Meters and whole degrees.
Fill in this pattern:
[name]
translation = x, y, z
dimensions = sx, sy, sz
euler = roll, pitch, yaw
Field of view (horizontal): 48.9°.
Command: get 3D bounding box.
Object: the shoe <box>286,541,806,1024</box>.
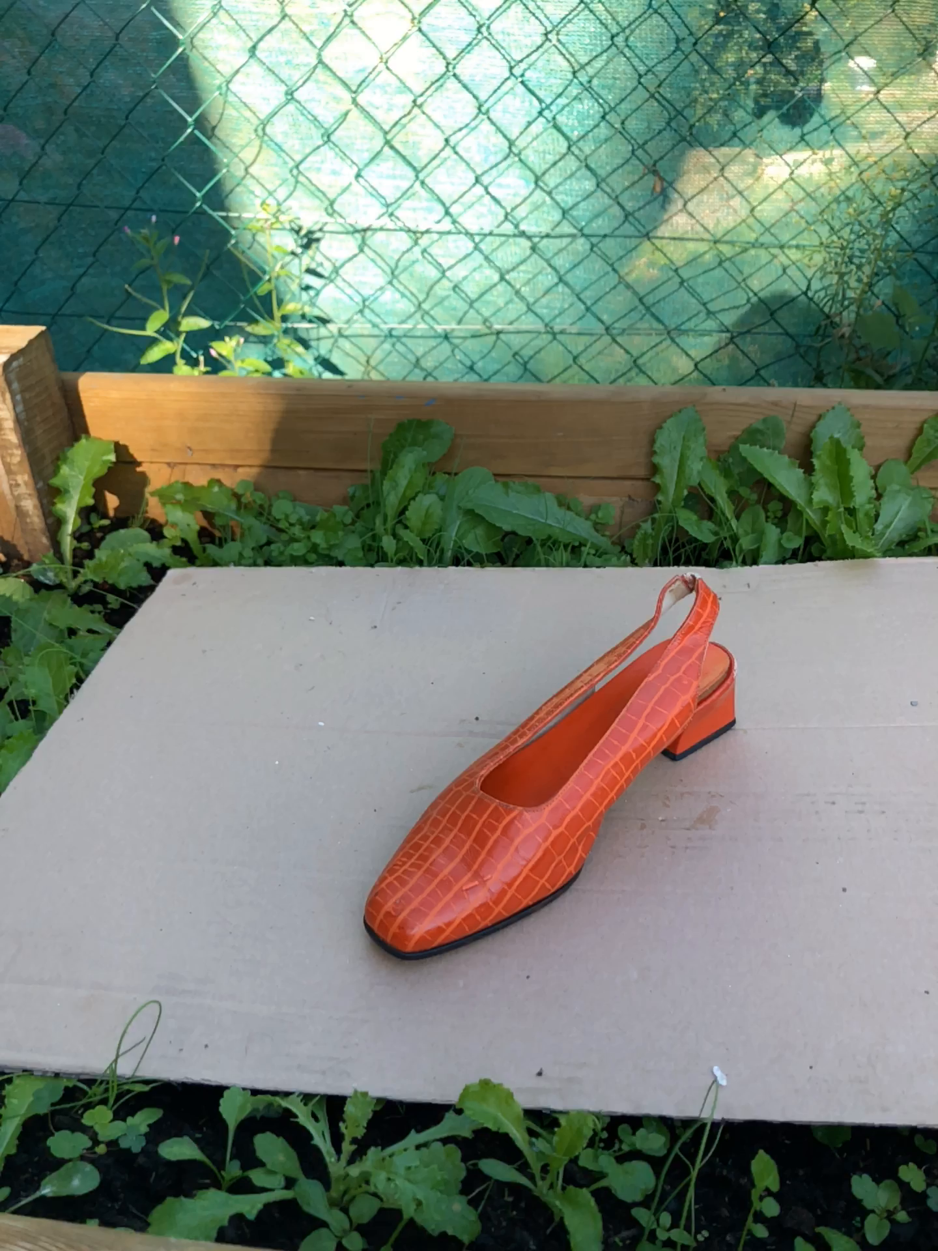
[shoe]
translation = 0.049, 0.061, 0.512
dimensions = 0.261, 0.089, 0.090
euler = -29, 43, -33
